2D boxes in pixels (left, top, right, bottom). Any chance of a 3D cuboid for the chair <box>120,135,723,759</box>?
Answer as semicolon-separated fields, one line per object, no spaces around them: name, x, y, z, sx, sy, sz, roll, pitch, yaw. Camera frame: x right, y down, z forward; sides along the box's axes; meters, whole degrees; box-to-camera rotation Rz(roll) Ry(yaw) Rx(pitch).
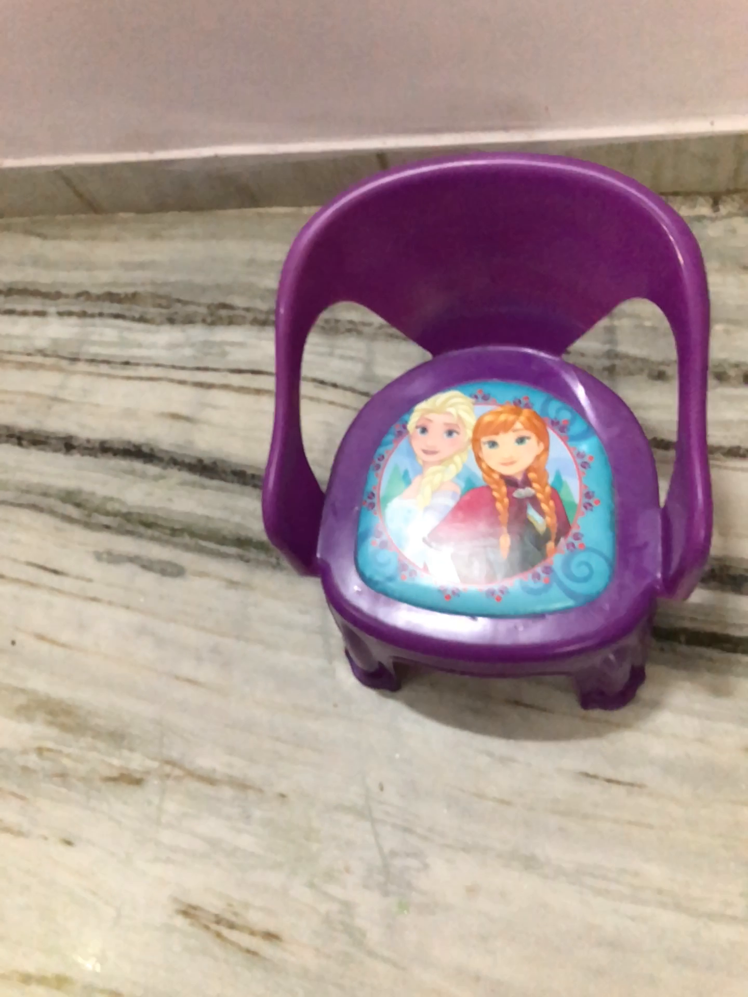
chair;0.076;-0.020;0.706;0.350;0.349;0.391;5;70;14
